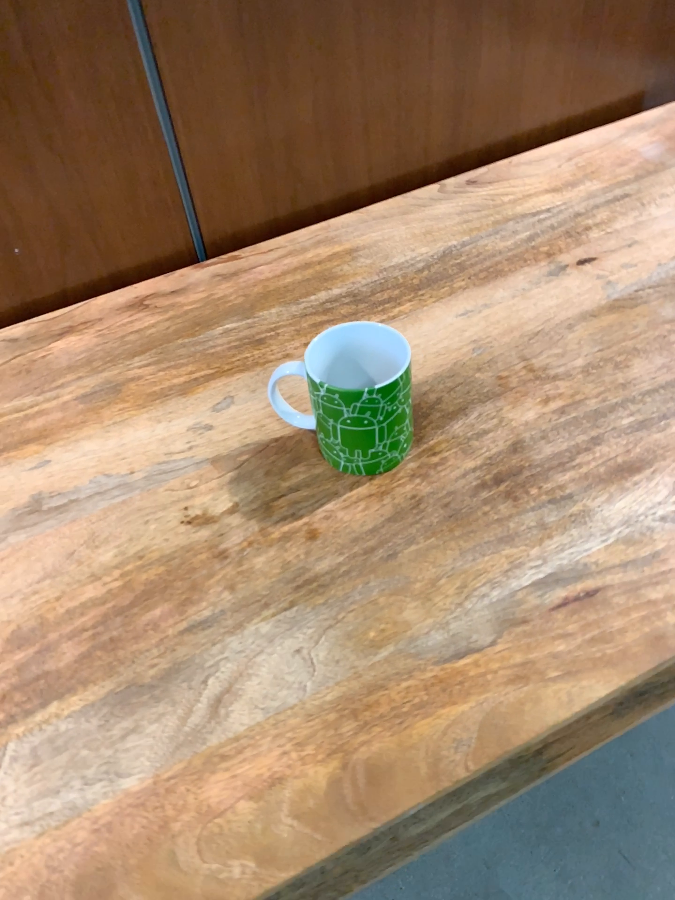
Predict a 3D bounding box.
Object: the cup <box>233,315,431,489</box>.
[{"bbox_3d":[0.002,-0.041,0.557,0.130,0.080,0.100,8,49,15],"label":"cup"}]
